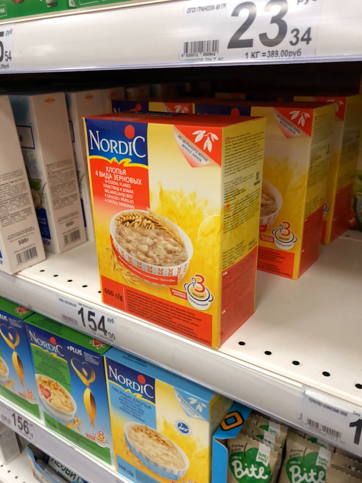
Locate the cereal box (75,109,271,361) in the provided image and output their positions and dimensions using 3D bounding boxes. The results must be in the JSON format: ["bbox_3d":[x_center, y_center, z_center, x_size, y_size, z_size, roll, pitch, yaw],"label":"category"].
[{"bbox_3d":[-0.007,-0.017,0.383,0.150,0.199,0.080,14,27,32],"label":"cereal box"}]
